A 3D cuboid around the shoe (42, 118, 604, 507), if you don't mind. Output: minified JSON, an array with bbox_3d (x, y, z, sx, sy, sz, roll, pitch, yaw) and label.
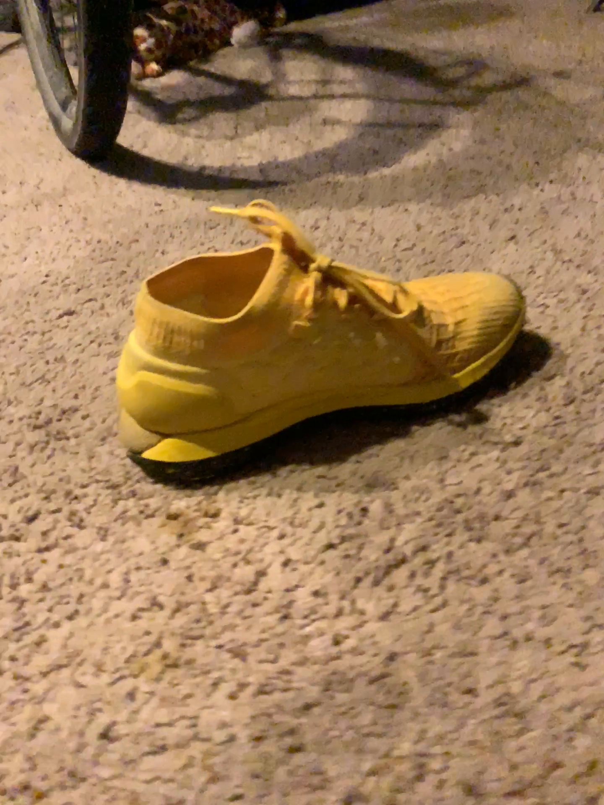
[{"bbox_3d":[0.018,-0.071,0.437,0.320,0.130,0.130,-17,41,-12],"label":"shoe"}]
